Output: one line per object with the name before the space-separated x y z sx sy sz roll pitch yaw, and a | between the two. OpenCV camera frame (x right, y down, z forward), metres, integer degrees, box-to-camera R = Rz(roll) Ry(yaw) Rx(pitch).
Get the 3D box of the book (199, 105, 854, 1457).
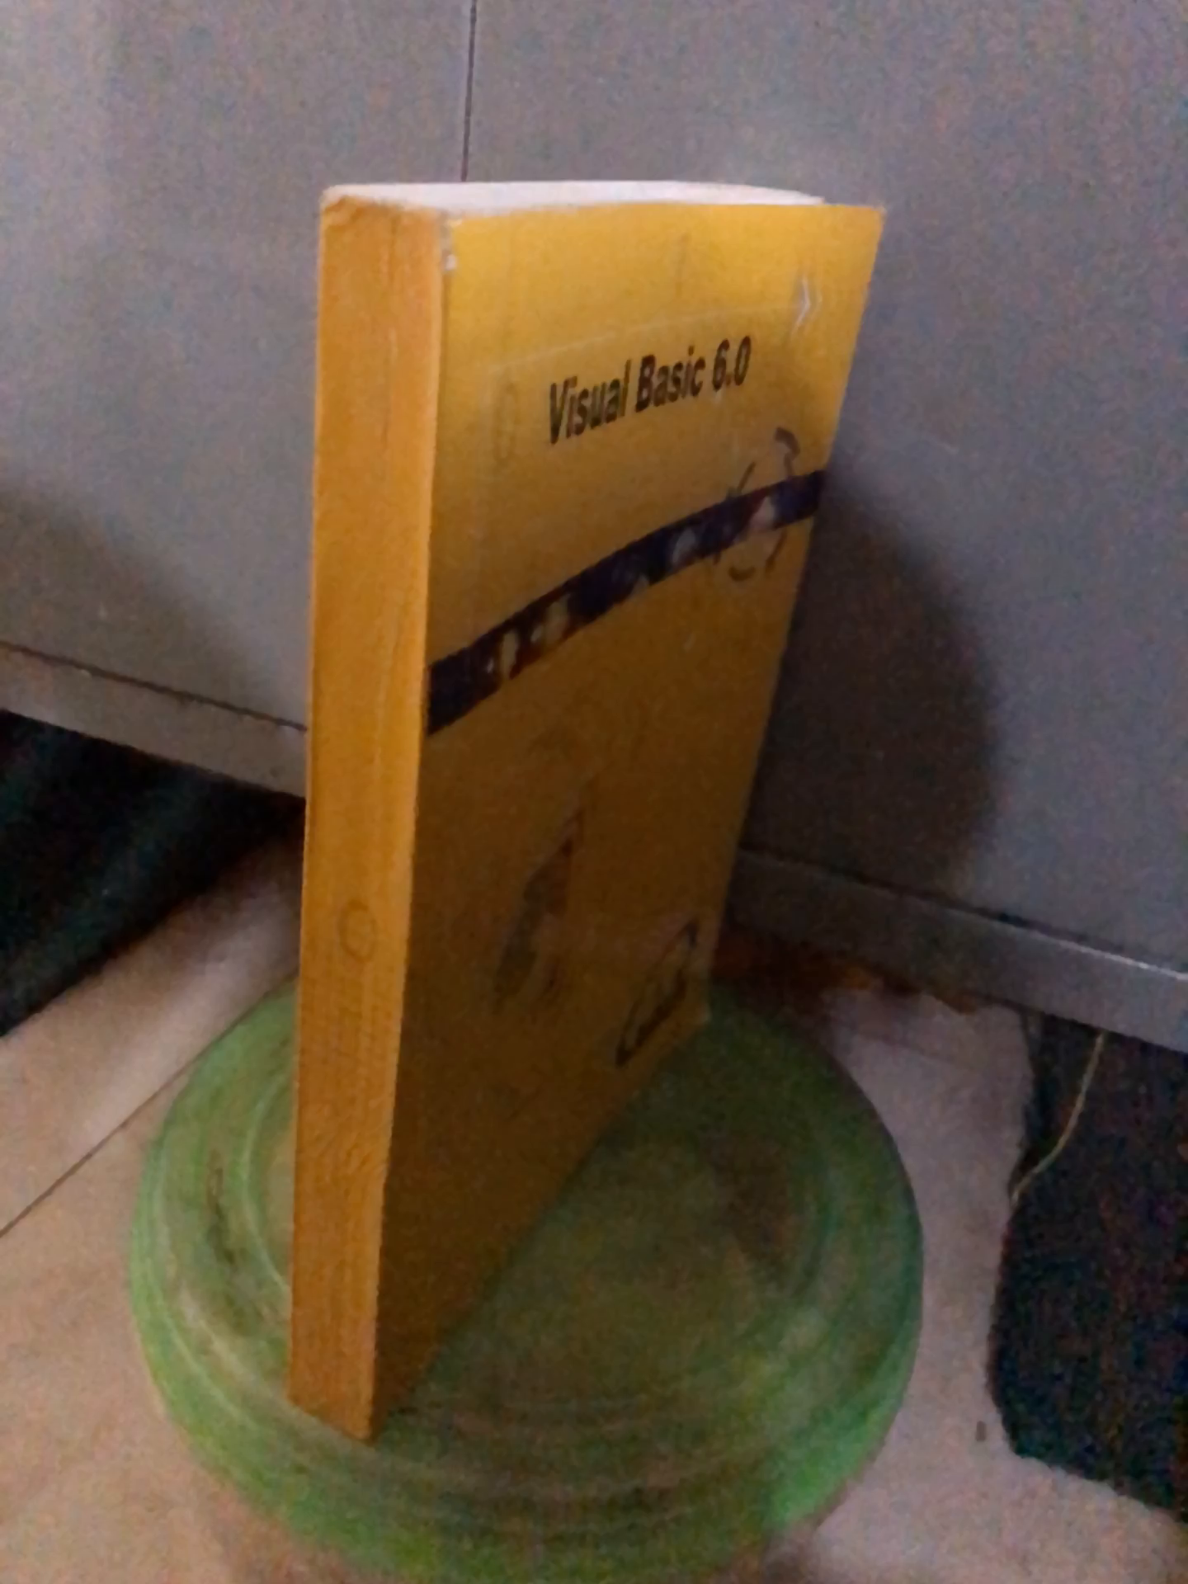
book | -0.009 -0.015 0.342 0.040 0.279 0.221 18 30 19
